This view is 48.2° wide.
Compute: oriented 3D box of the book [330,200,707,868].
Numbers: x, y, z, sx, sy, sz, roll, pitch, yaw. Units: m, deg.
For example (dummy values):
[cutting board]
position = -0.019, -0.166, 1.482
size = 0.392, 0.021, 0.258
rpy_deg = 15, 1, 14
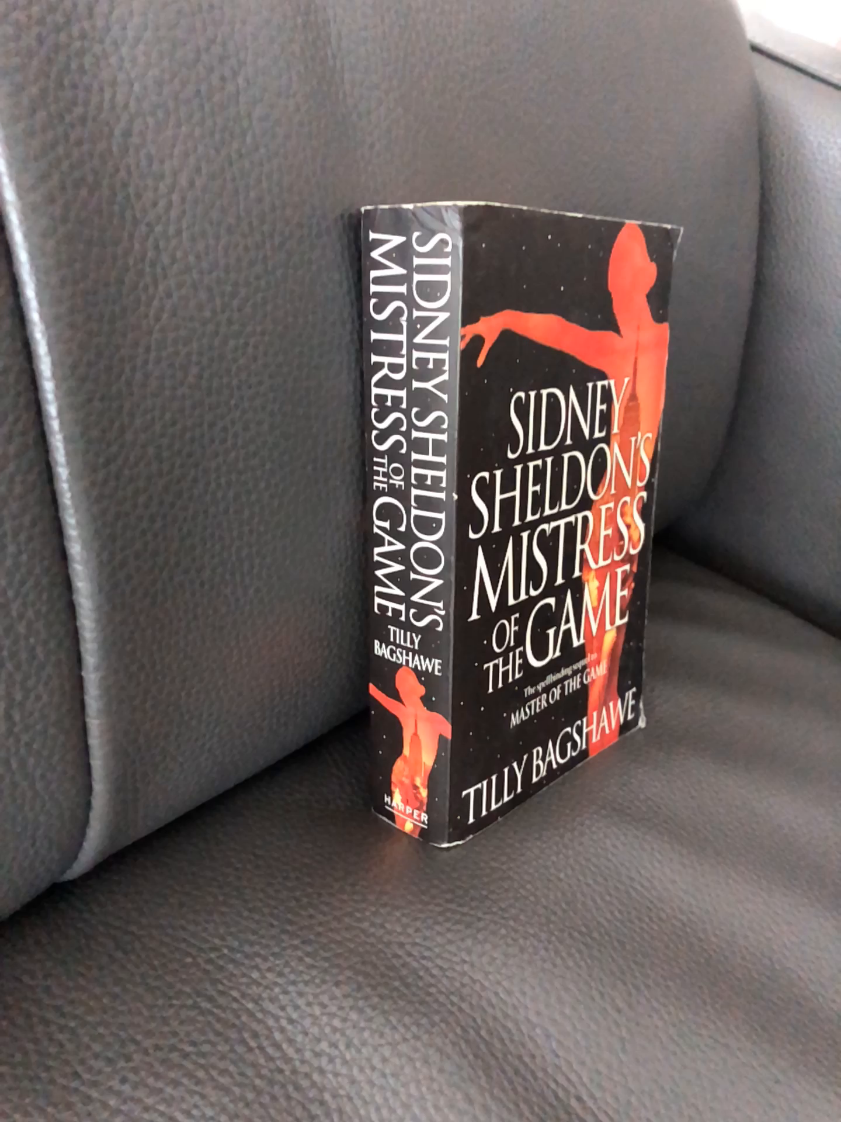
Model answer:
[book]
position = 0.032, -0.016, 0.298
size = 0.046, 0.179, 0.119
rpy_deg = 17, 24, 39
